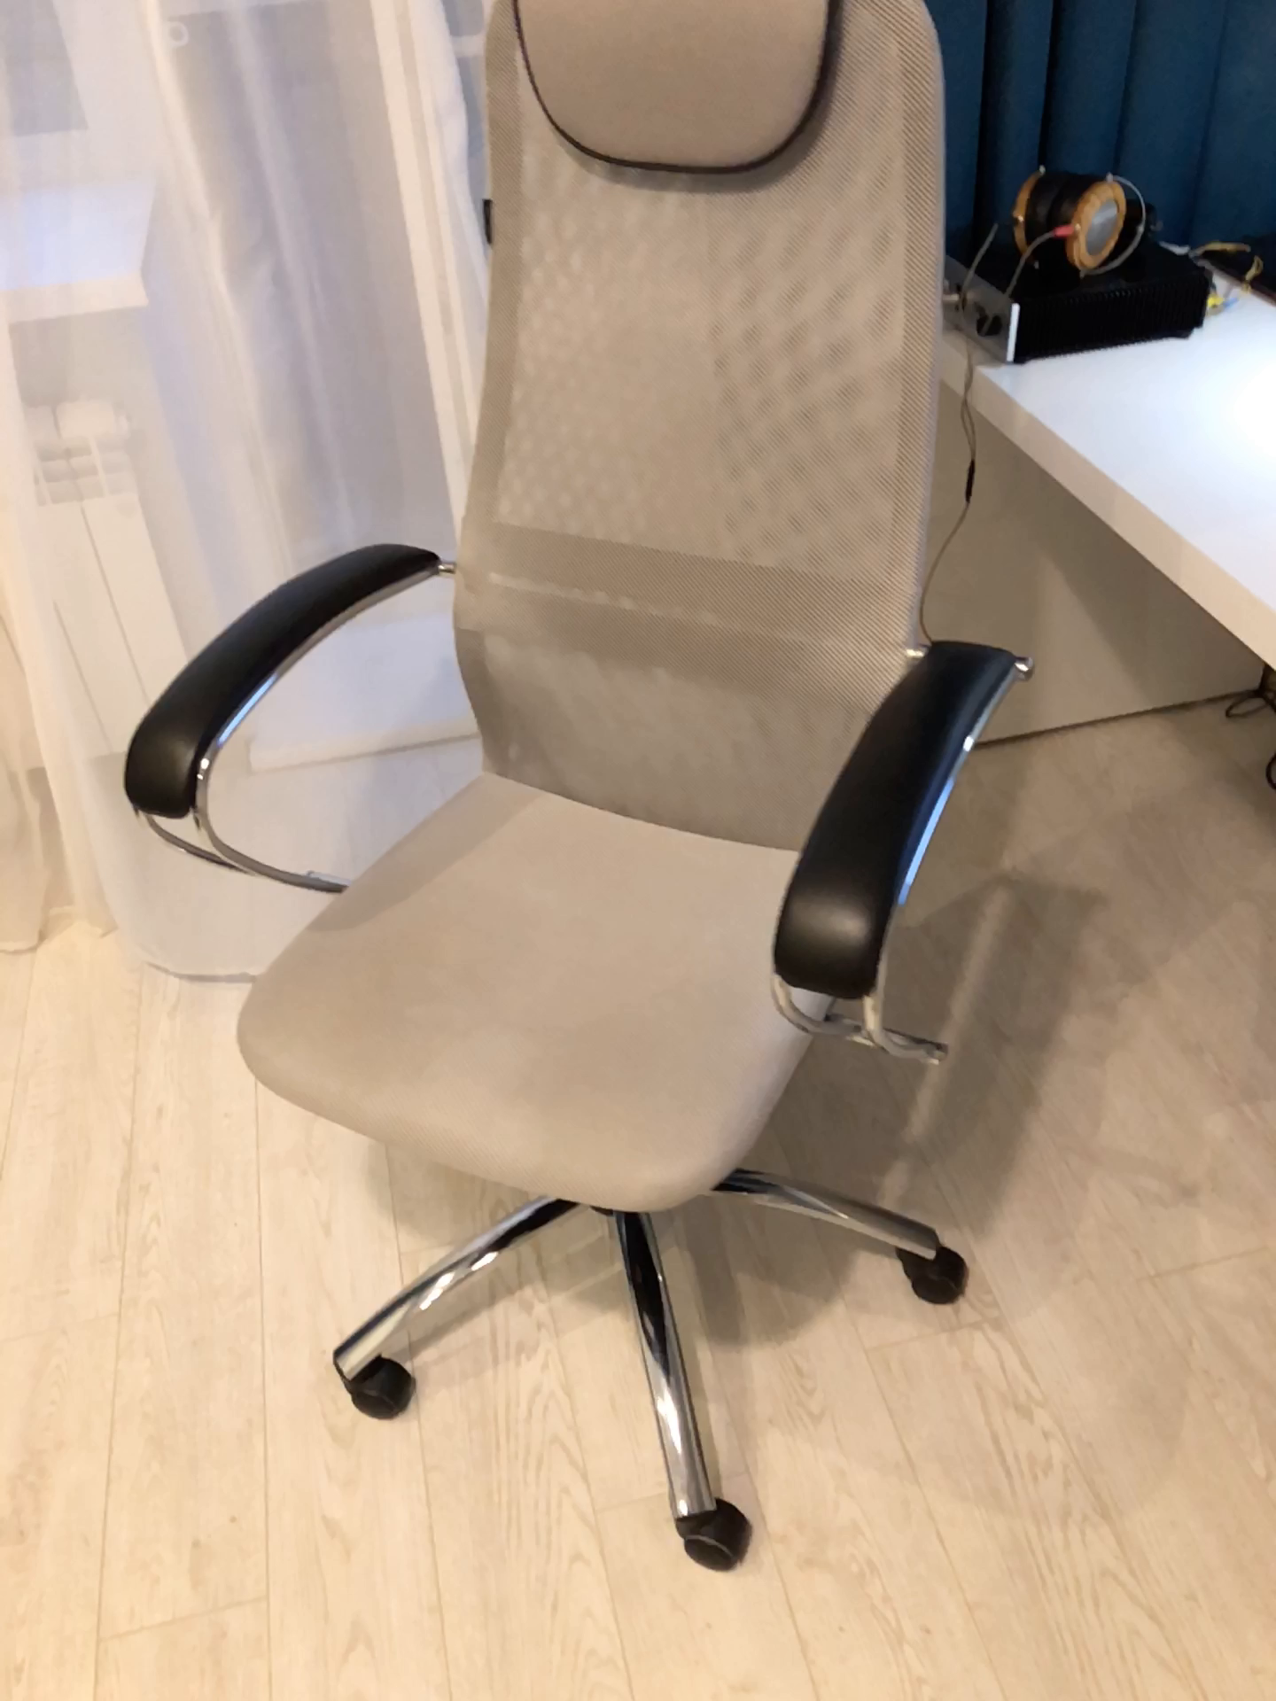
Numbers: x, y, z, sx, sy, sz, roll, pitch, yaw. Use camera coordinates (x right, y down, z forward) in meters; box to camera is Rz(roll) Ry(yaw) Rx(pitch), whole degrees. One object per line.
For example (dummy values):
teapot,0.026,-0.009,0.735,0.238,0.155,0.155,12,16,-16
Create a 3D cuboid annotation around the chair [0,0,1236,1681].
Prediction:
chair,-0.005,-0.024,1.232,0.691,1.291,0.684,13,42,21
